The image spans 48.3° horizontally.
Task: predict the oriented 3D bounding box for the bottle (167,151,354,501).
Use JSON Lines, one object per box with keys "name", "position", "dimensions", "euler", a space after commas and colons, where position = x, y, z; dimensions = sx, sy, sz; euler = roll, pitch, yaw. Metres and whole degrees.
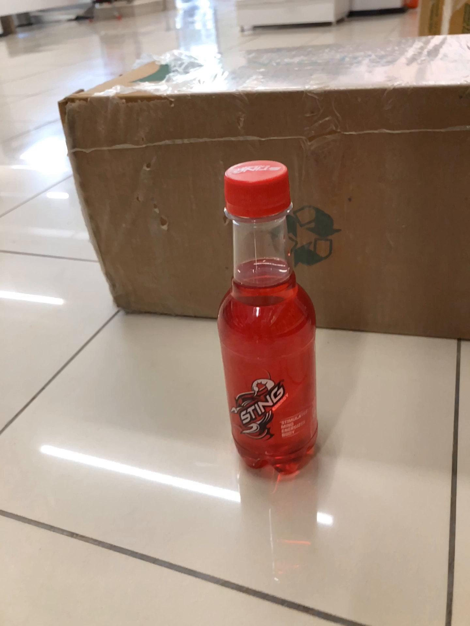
{"name": "bottle", "position": [0.023, 0.010, 0.294], "dimensions": [0.070, 0.179, 0.070], "euler": [-4, 32, 3]}
